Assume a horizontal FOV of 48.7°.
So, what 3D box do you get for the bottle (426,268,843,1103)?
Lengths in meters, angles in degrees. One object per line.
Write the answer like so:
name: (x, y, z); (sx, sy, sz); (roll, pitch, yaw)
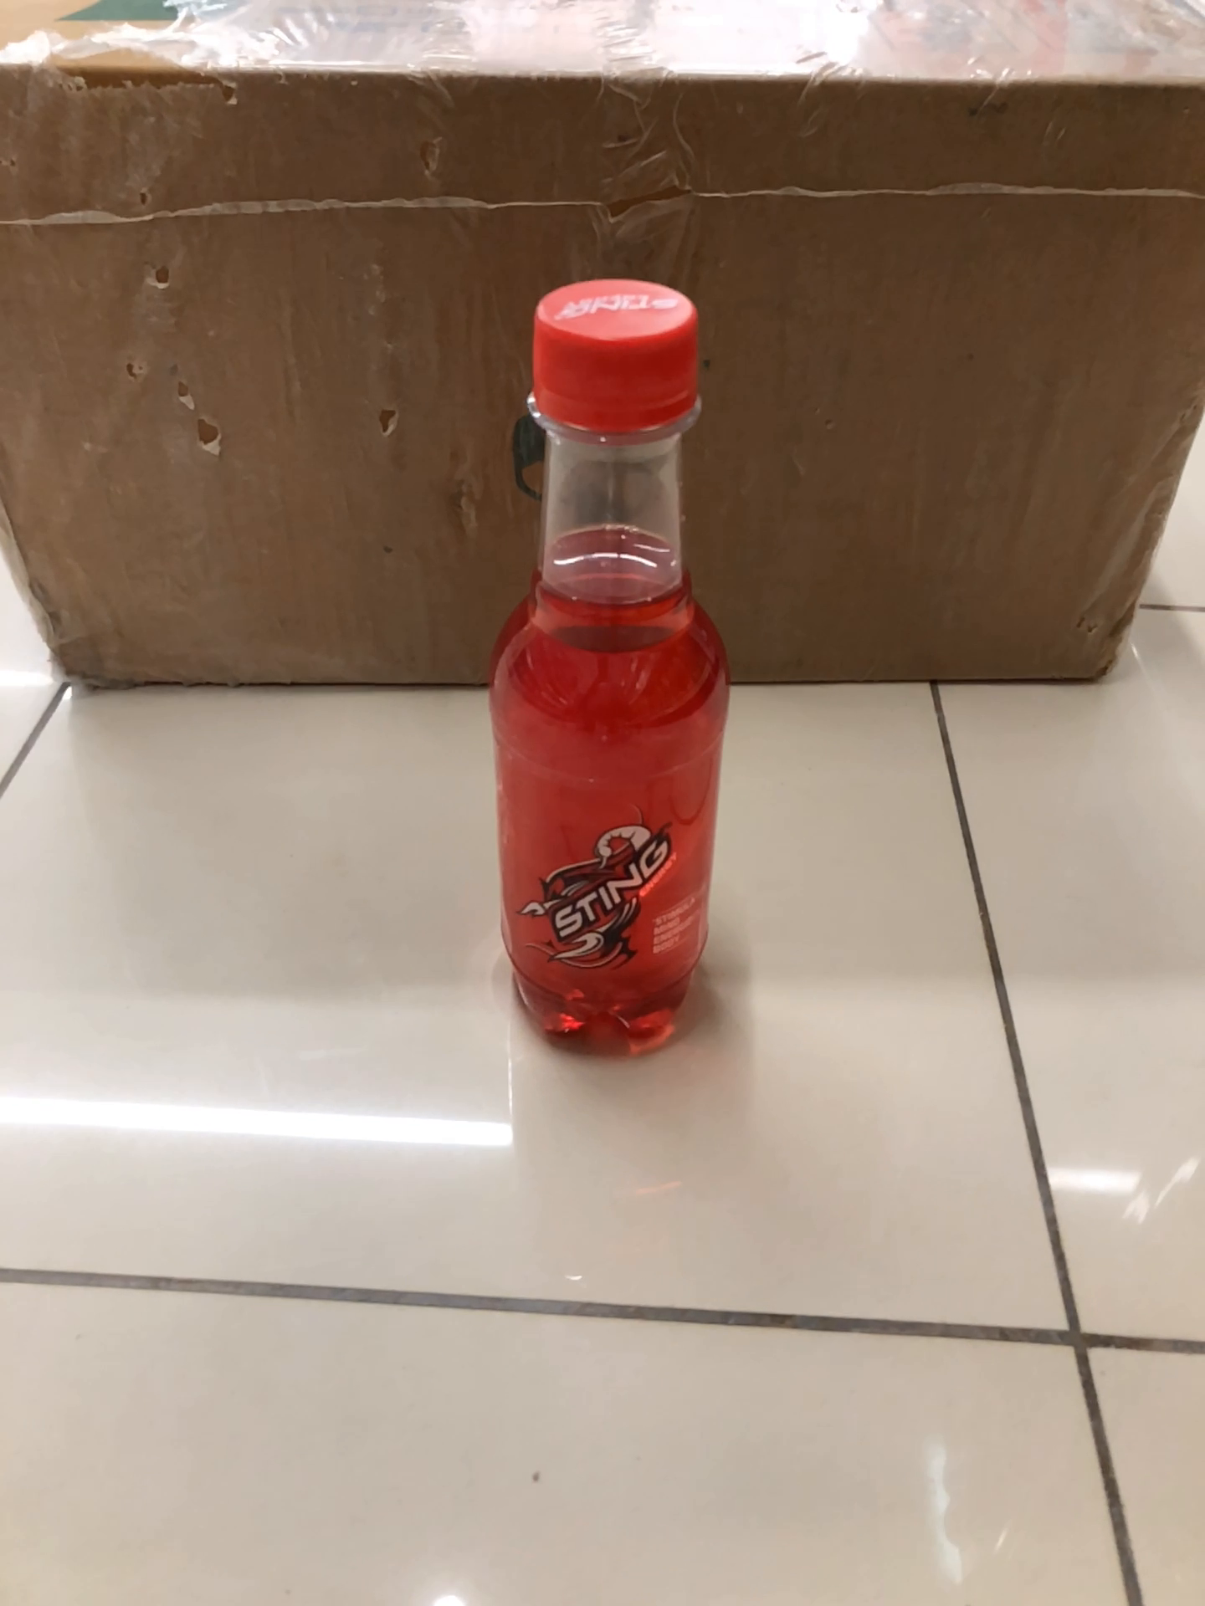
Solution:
bottle: (0.007, -0.018, 0.306); (0.070, 0.179, 0.070); (1, 39, 0)
